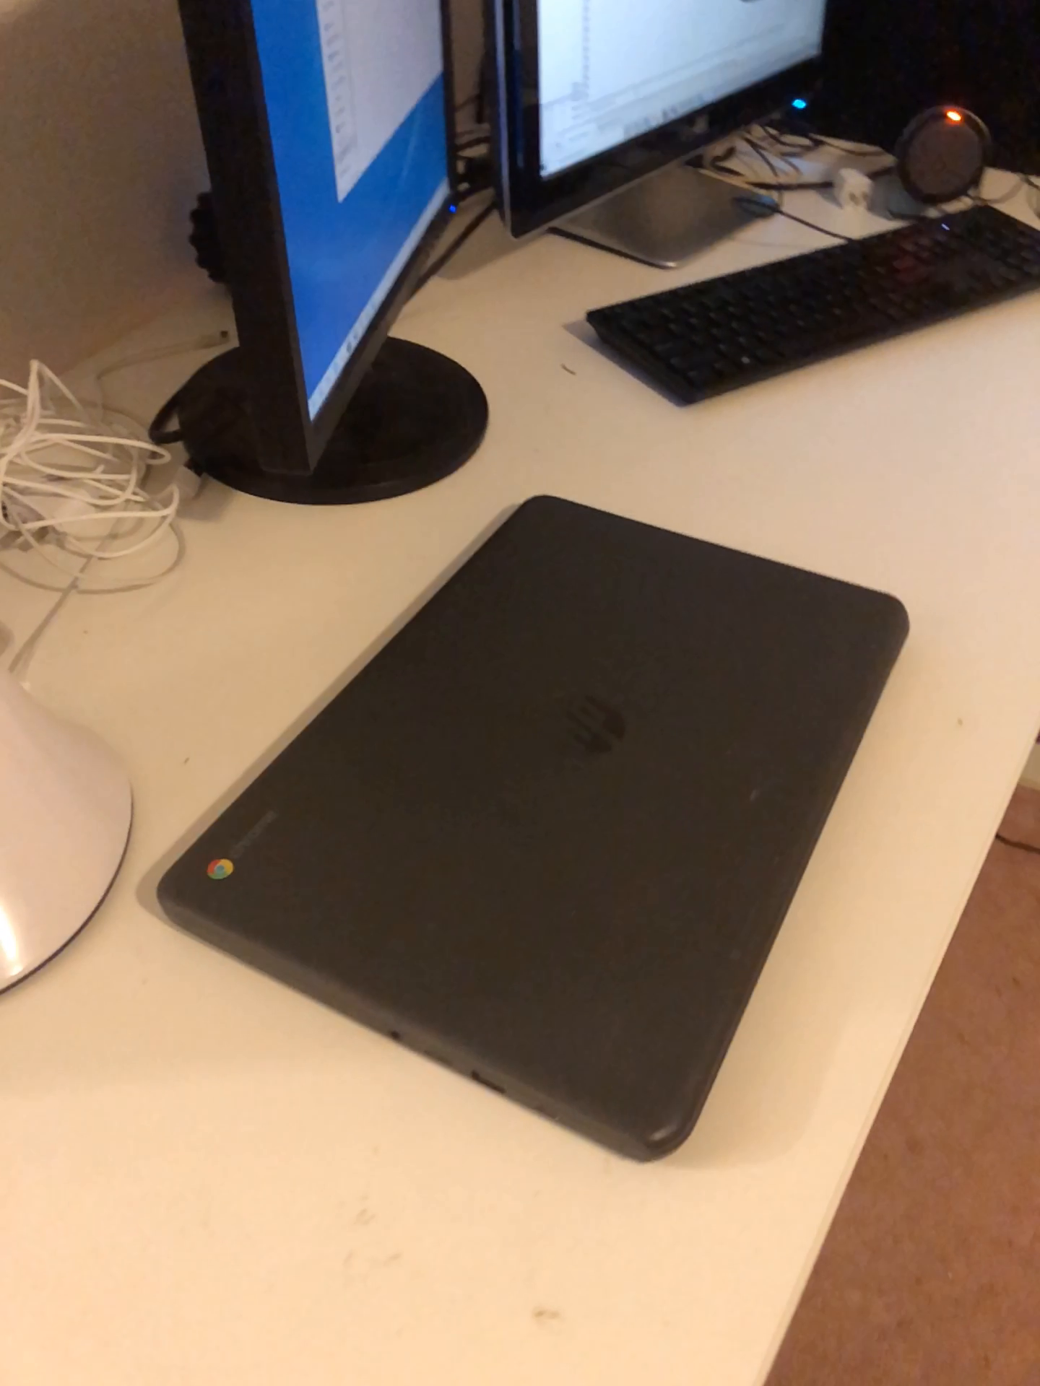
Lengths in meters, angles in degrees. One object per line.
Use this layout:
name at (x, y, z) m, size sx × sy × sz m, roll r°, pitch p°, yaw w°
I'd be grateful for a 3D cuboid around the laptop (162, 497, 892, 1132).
laptop at (0.027, 0.017, 0.523) m, size 0.209 × 0.001 × 0.327 m, roll 20°, pitch 46°, yaw 19°
